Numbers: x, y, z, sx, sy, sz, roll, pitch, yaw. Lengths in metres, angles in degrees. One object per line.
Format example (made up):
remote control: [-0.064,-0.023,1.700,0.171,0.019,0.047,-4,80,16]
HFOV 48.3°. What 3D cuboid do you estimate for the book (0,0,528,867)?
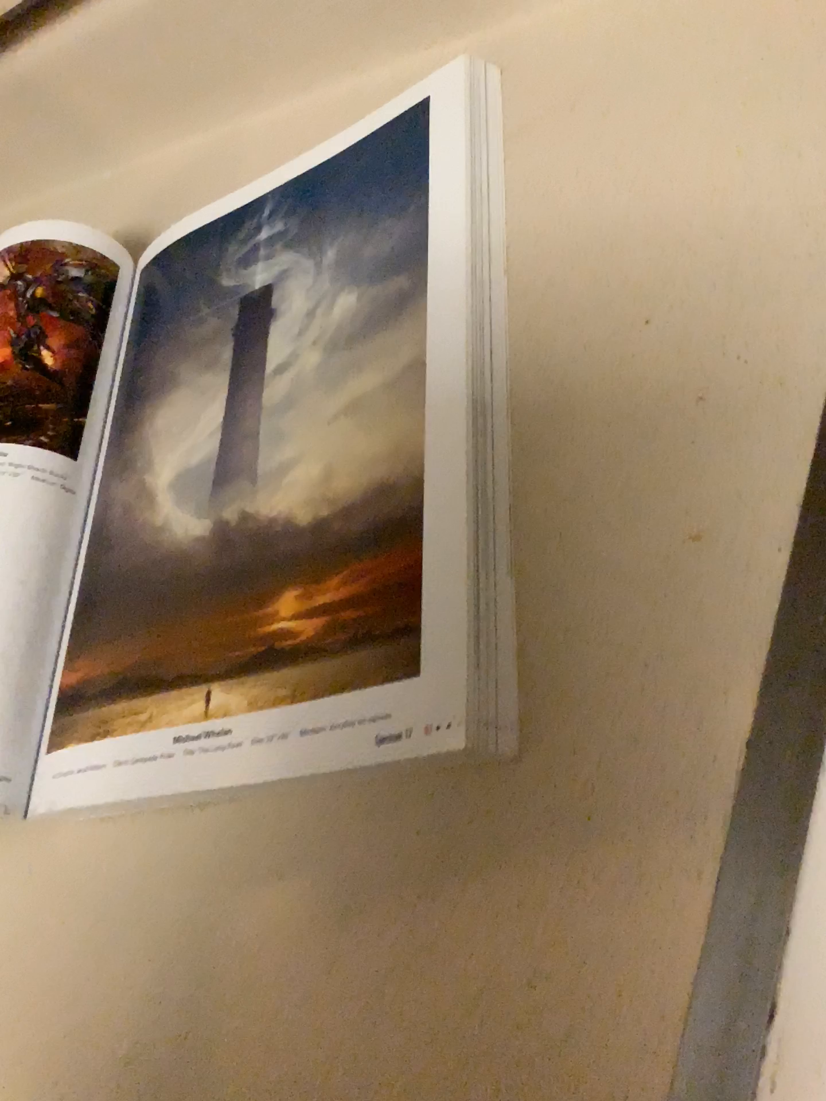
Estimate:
book: [-0.164,-0.038,0.427,0.450,0.070,0.320,-17,58,33]
